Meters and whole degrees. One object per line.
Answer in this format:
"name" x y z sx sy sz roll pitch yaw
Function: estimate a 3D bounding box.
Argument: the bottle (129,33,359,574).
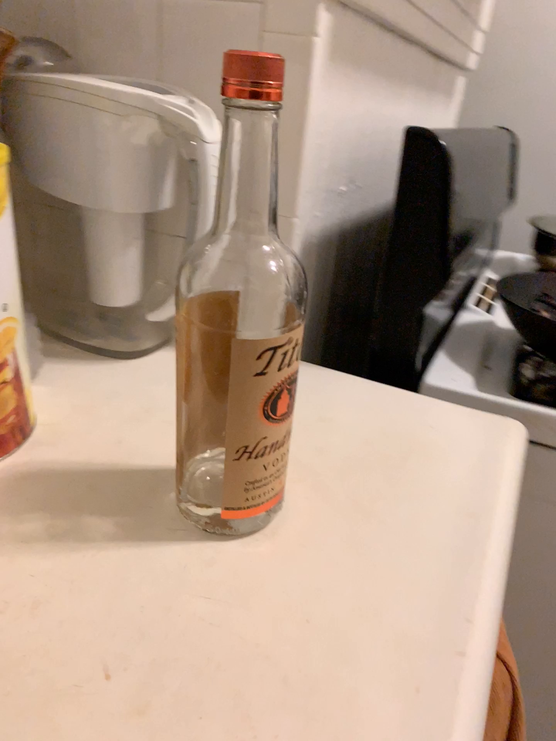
"bottle" -0.028 -0.029 0.342 0.080 0.288 0.080 5 26 -2
